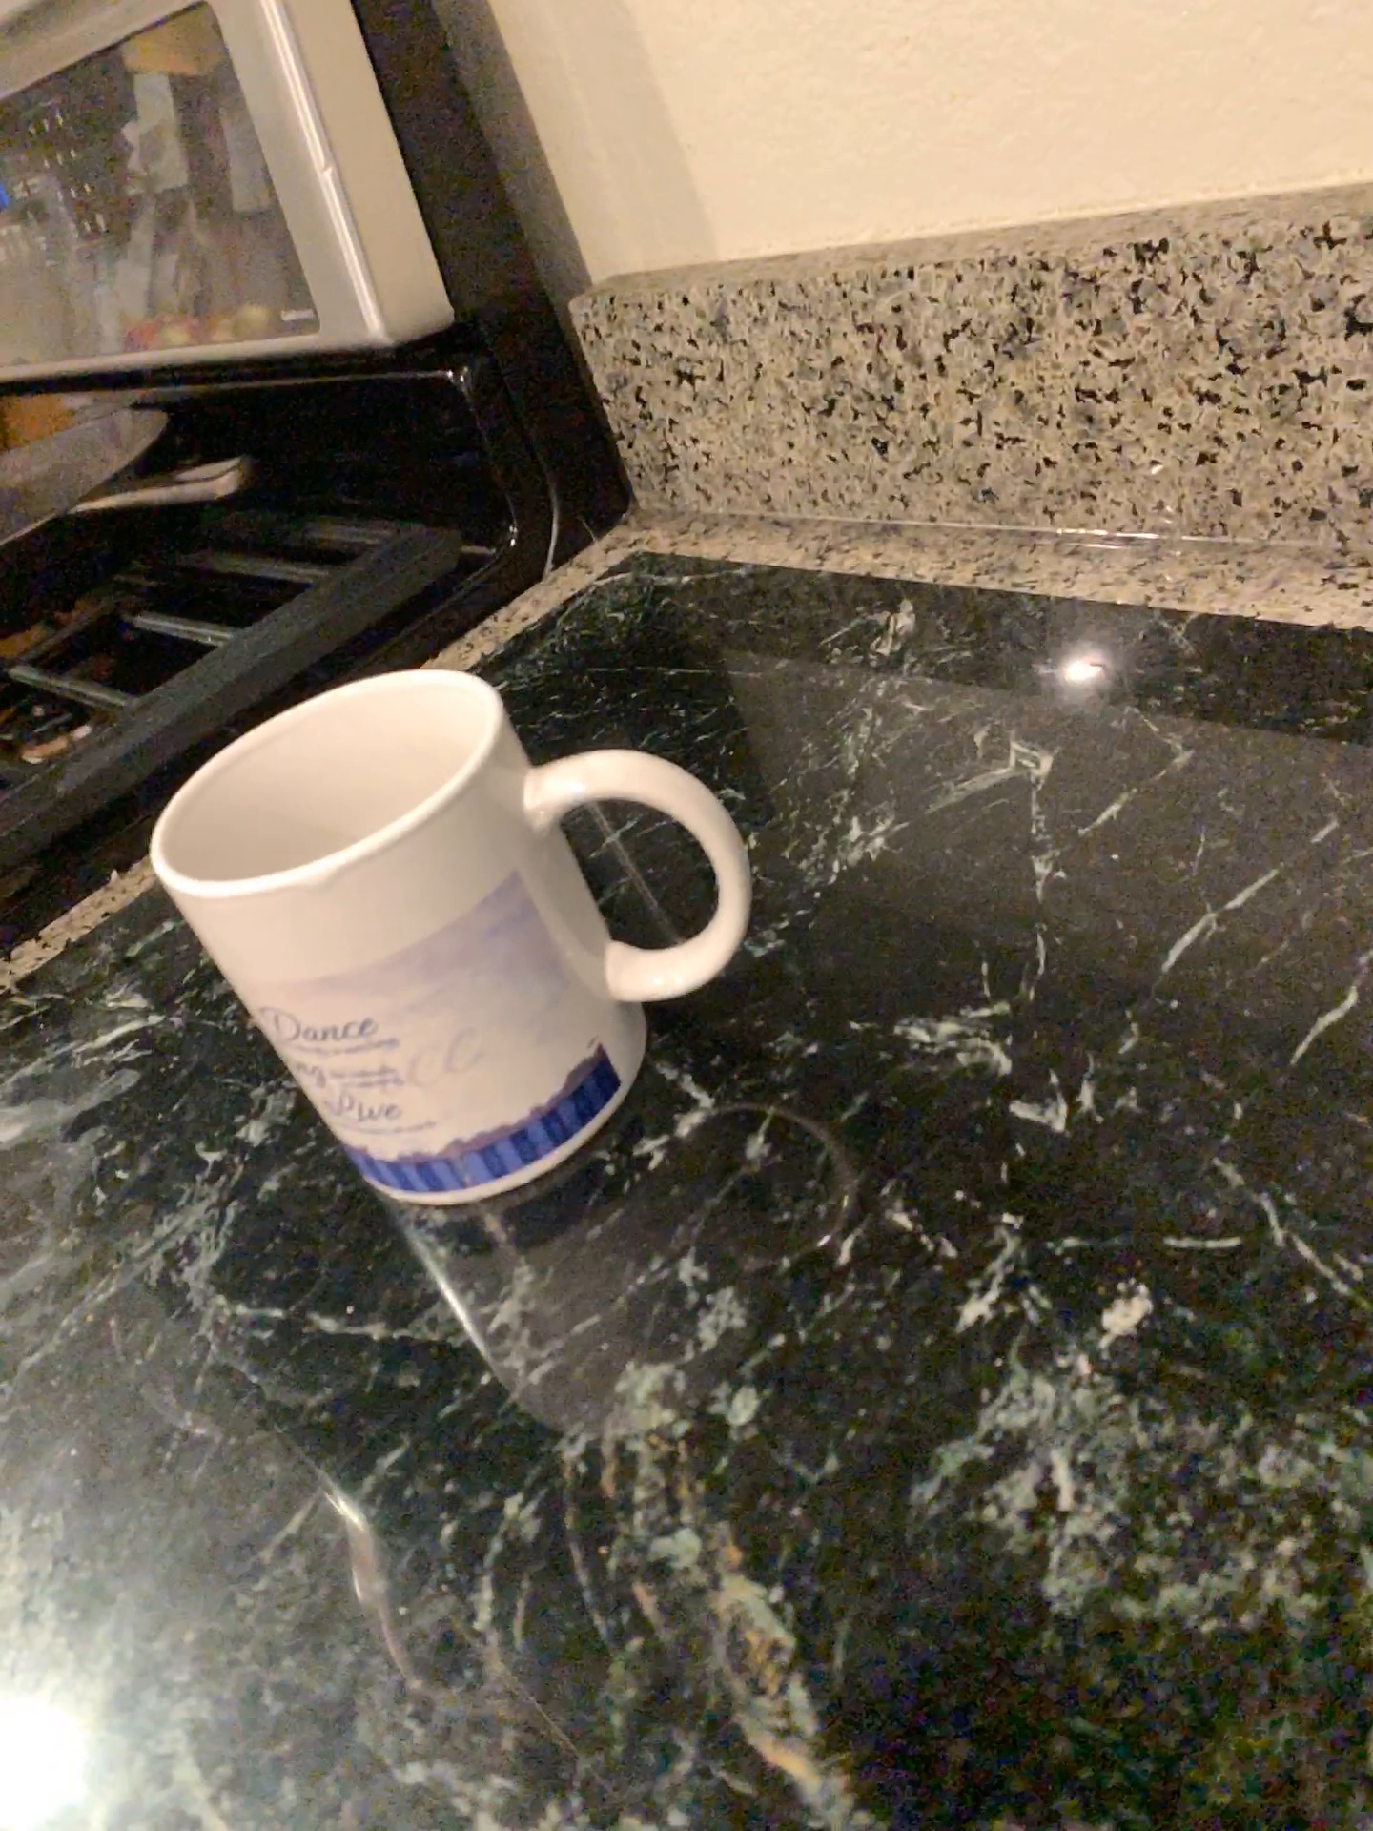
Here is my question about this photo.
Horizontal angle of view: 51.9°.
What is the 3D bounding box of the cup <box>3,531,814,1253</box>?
[{"bbox_3d":[-0.050,-0.004,0.314,0.130,0.099,0.091,-14,35,13],"label":"cup"}]
